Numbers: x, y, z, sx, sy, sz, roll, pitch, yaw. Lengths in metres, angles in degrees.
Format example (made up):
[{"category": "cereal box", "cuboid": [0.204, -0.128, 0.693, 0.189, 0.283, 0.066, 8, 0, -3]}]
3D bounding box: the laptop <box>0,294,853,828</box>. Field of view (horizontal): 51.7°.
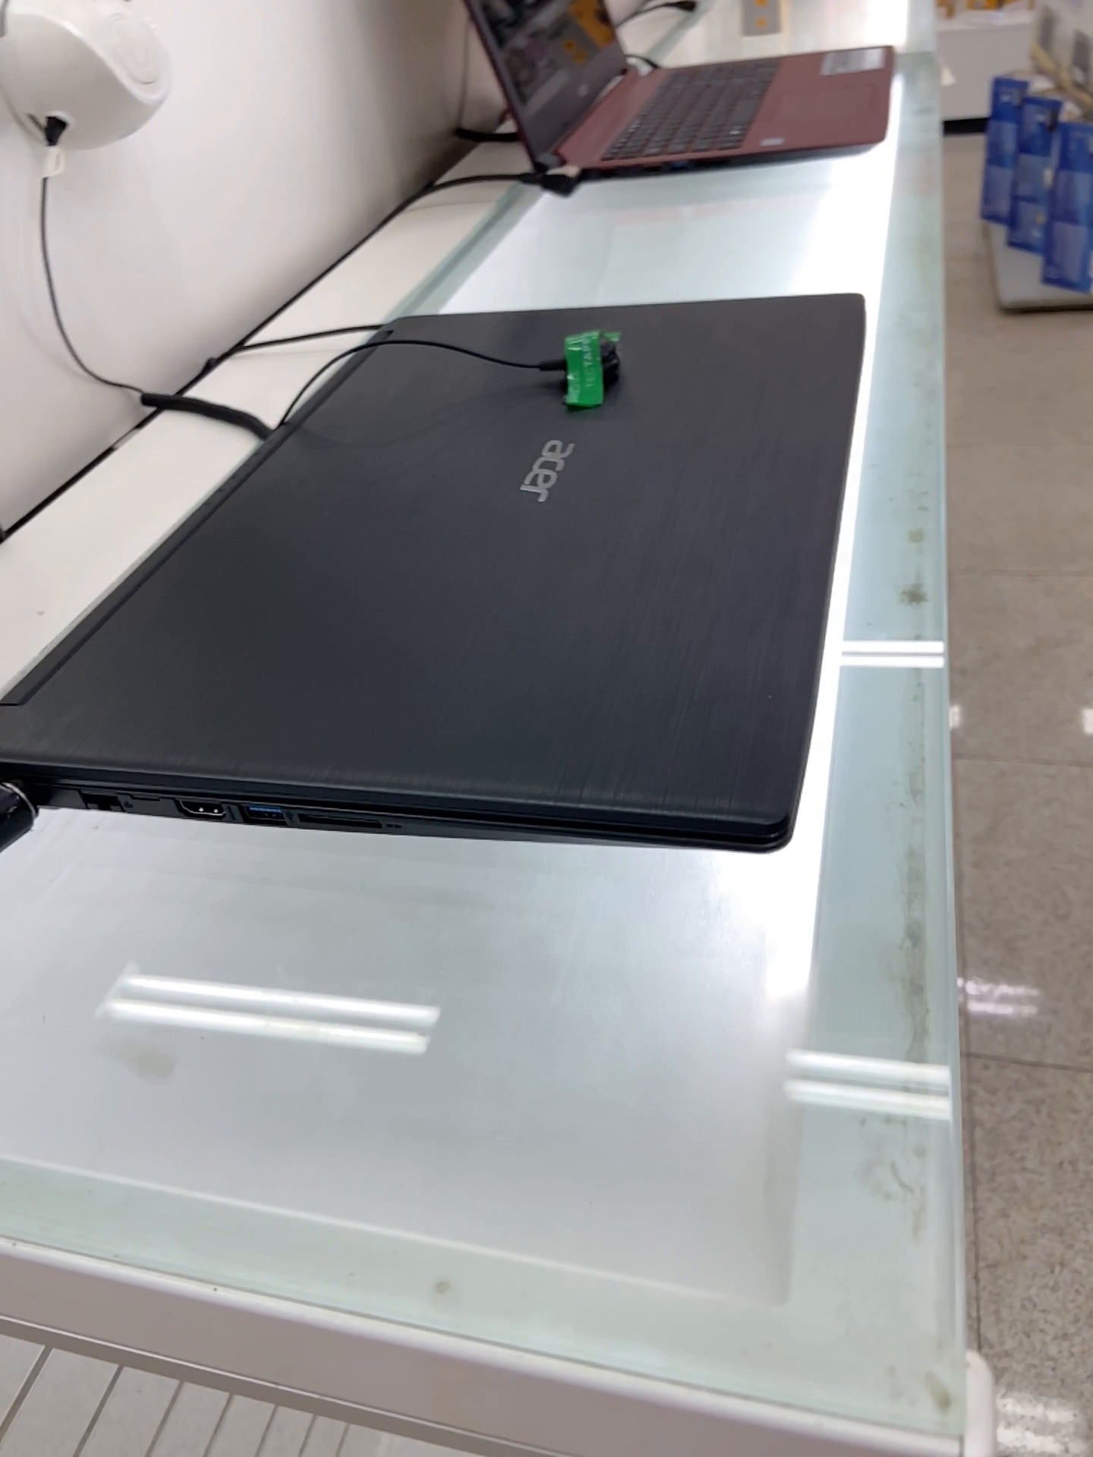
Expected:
[{"category": "laptop", "cuboid": [-0.012, -0.104, 0.453, 0.247, 0.001, 0.389, 3, 39, 16]}]
